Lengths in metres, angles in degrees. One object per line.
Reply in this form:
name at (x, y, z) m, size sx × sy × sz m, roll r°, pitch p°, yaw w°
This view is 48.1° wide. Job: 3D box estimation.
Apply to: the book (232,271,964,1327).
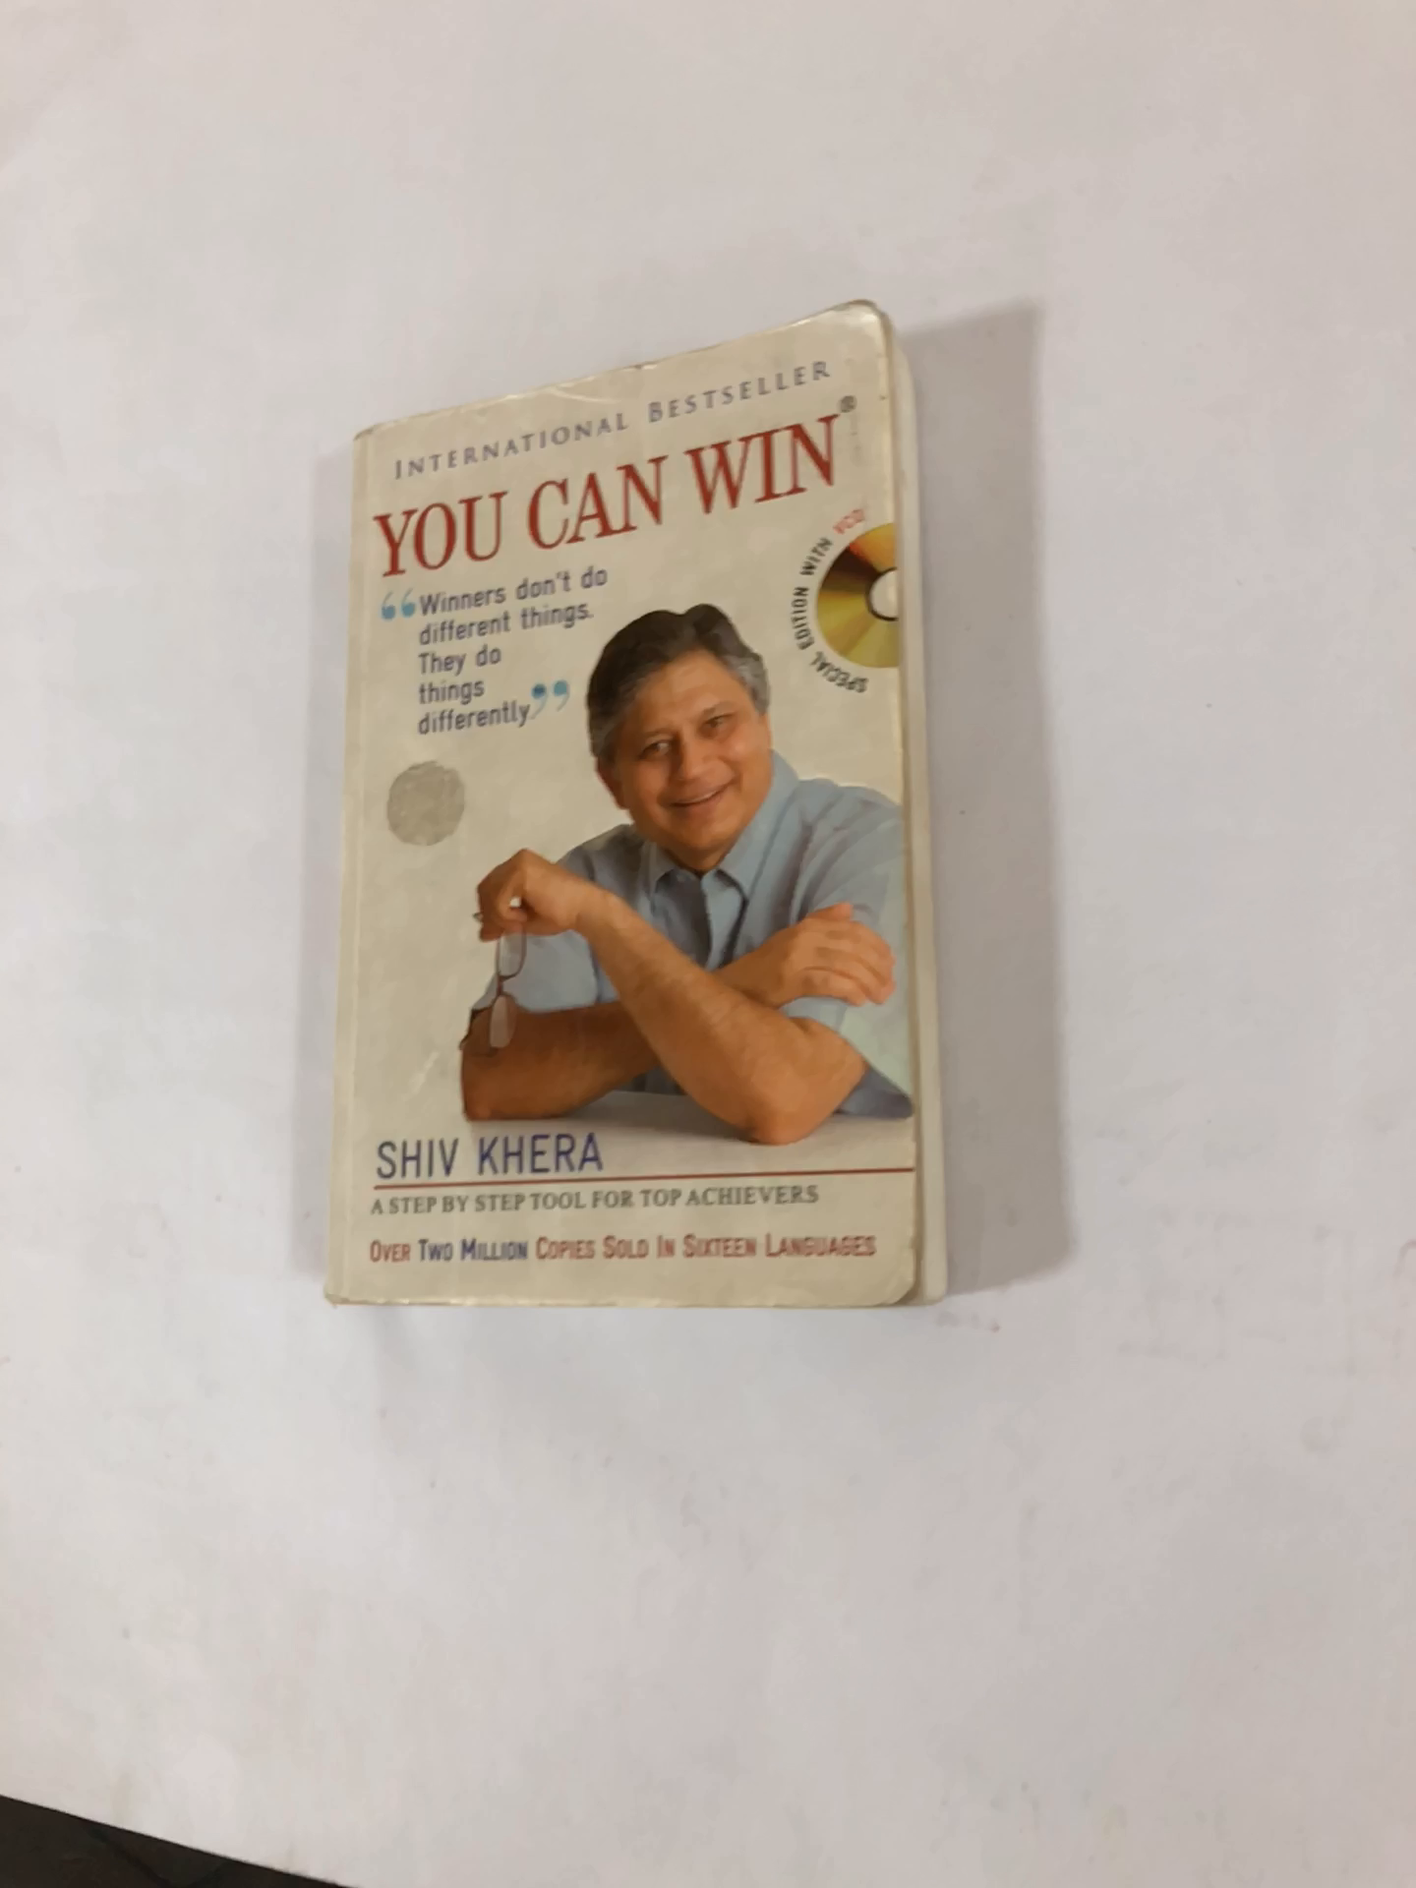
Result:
book at (-0.027, -0.025, 0.350) m, size 0.150 × 0.040 × 0.210 m, roll -5°, pitch 79°, yaw 21°
